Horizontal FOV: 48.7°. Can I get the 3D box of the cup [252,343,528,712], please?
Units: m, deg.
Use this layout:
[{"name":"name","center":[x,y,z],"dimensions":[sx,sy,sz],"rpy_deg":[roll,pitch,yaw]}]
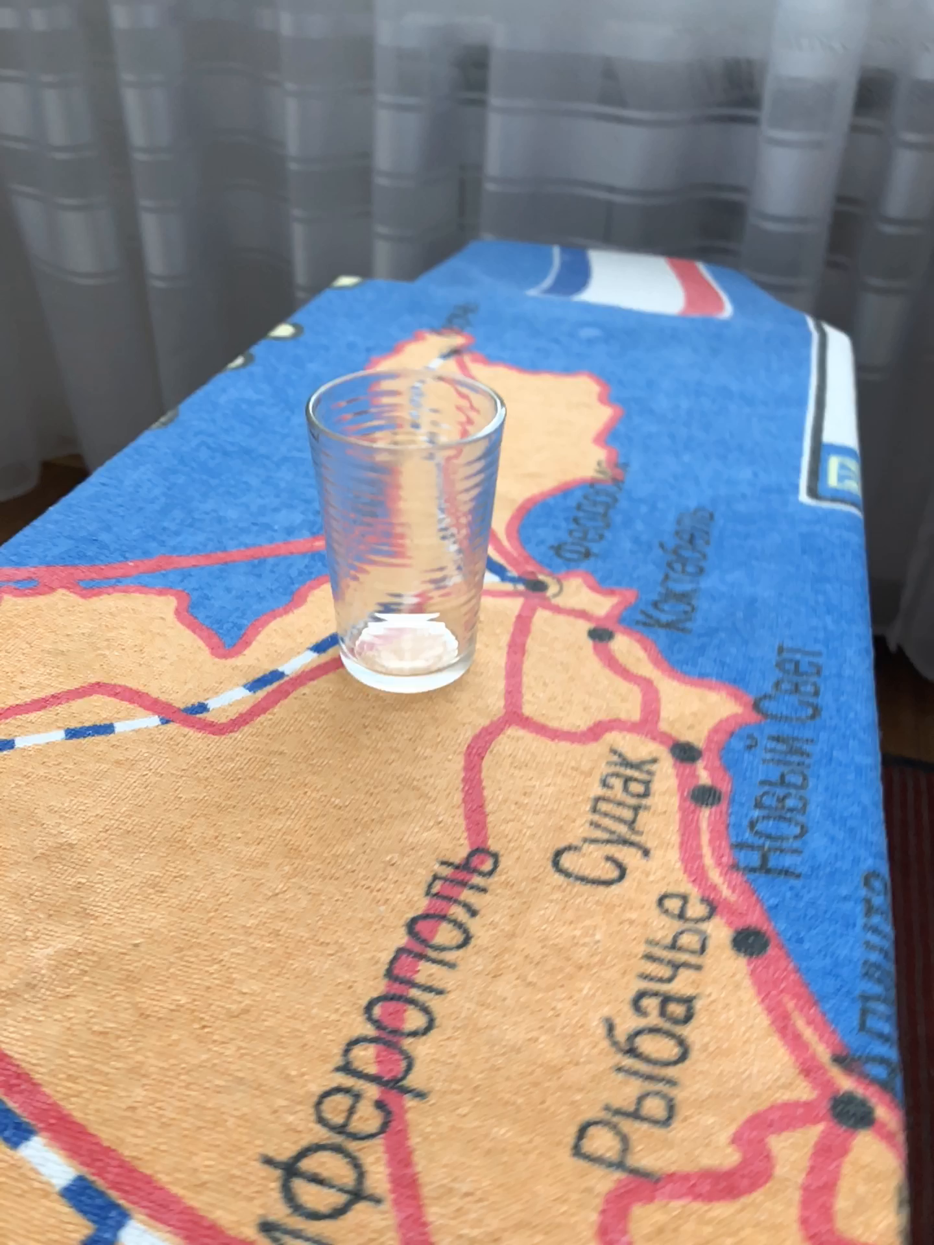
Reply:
[{"name":"cup","center":[-0.024,-0.035,0.367],"dimensions":[0.070,0.099,0.068],"rpy_deg":[1,36,-1]}]
